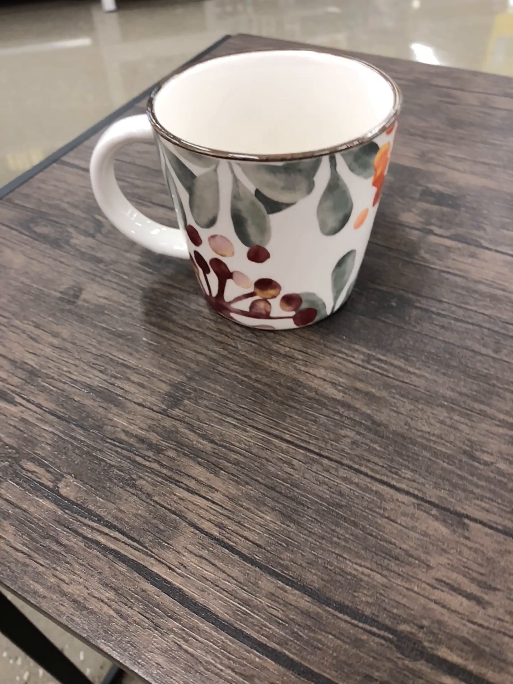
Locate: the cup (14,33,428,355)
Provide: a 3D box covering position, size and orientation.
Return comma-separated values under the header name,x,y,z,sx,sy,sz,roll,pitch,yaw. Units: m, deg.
name,x,y,z,sx,sy,sz,roll,pitch,yaw
cup,-0.007,-0.072,0.279,0.150,0.110,0.100,3,47,7
